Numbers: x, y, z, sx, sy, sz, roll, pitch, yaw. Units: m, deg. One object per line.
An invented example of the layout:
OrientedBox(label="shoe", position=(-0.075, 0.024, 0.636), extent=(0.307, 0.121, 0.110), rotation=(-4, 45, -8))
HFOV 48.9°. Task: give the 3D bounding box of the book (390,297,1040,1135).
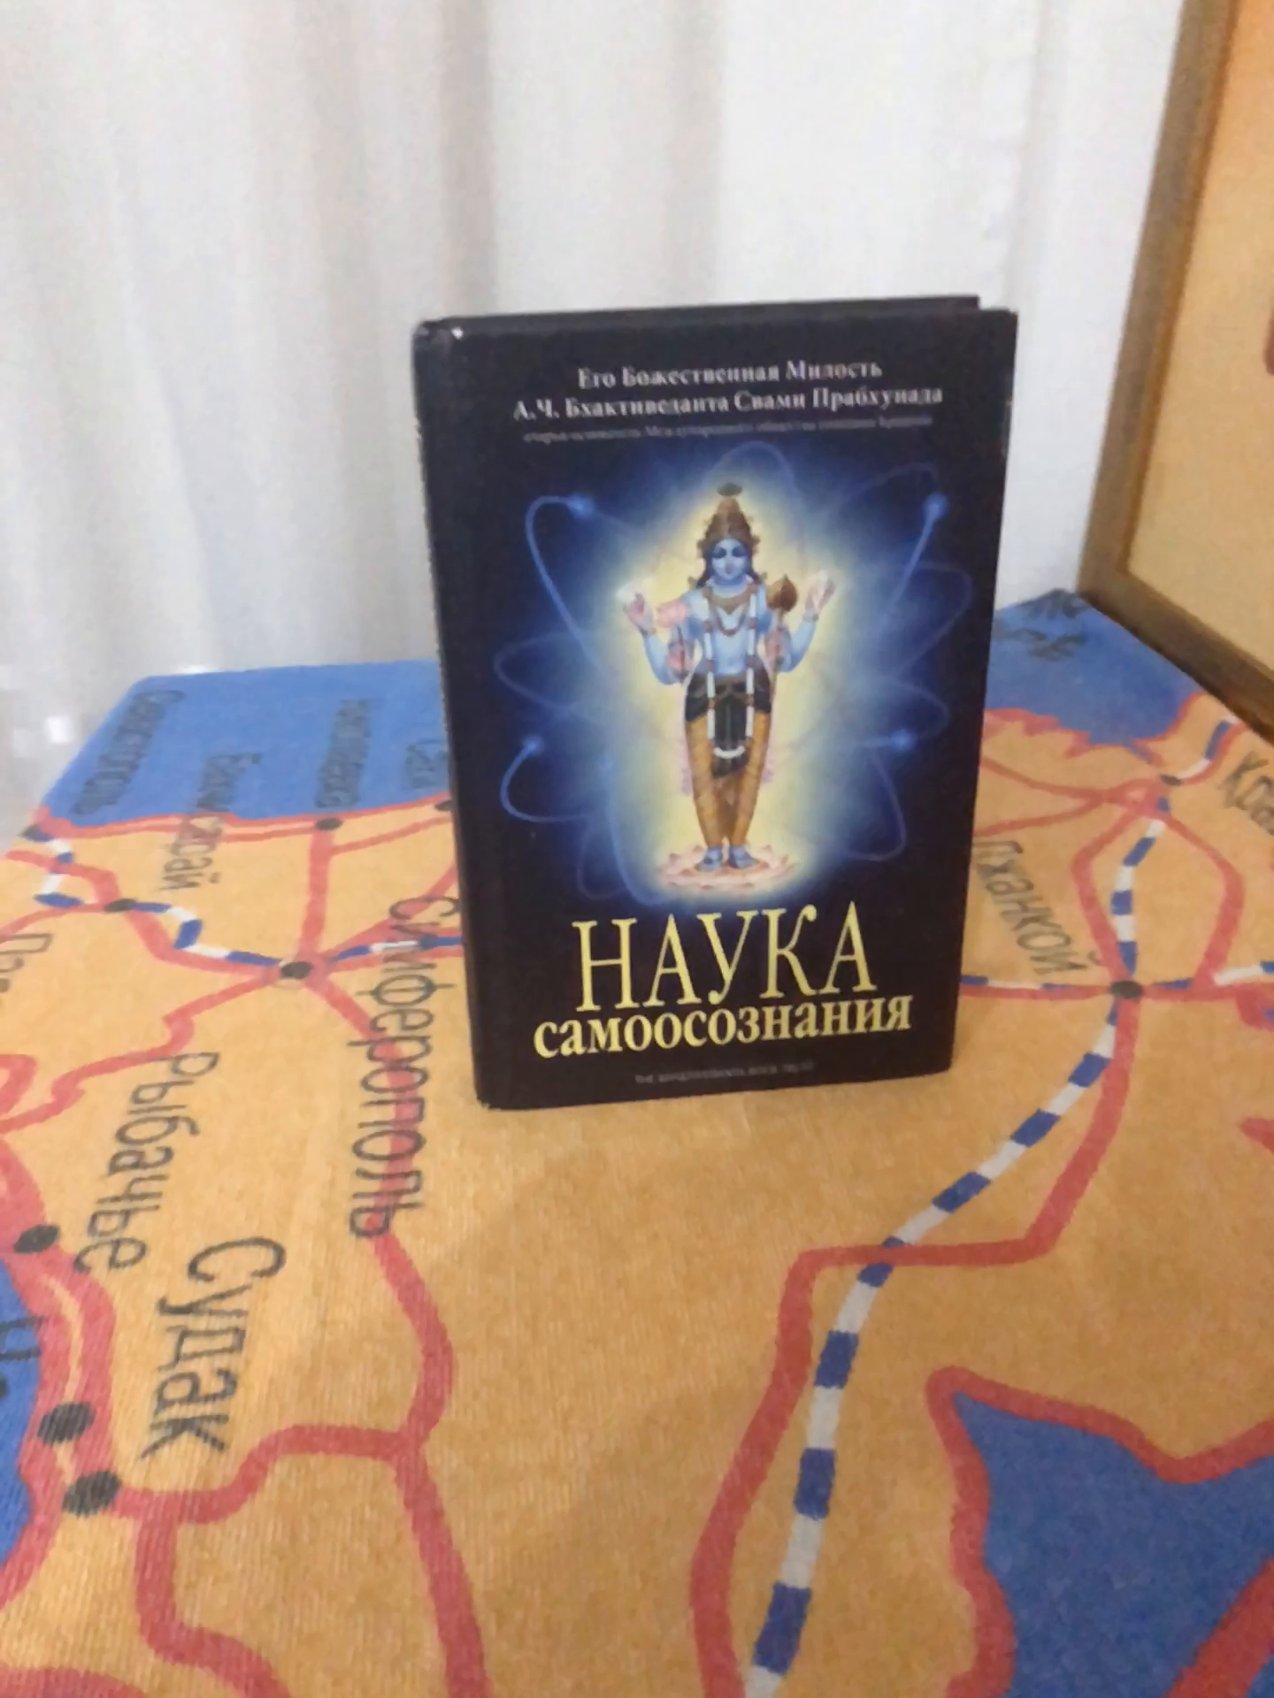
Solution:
OrientedBox(label="book", position=(0.019, -0.026, 0.356), extent=(0.140, 0.205, 0.030), rotation=(-4, 26, -5))
